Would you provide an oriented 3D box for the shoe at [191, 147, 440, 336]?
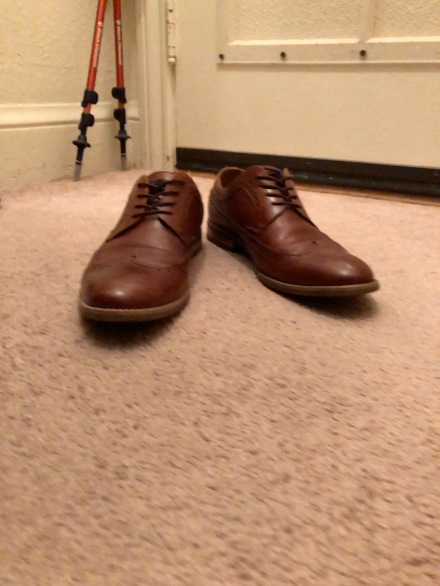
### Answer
[{"bbox_3d":[0.074,-0.082,0.539,0.115,0.114,0.311,-8,25,-21],"label":"shoe"}]

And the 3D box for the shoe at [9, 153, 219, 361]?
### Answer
[{"bbox_3d":[-0.076,-0.064,0.503,0.115,0.114,0.312,3,23,5],"label":"shoe"}]
